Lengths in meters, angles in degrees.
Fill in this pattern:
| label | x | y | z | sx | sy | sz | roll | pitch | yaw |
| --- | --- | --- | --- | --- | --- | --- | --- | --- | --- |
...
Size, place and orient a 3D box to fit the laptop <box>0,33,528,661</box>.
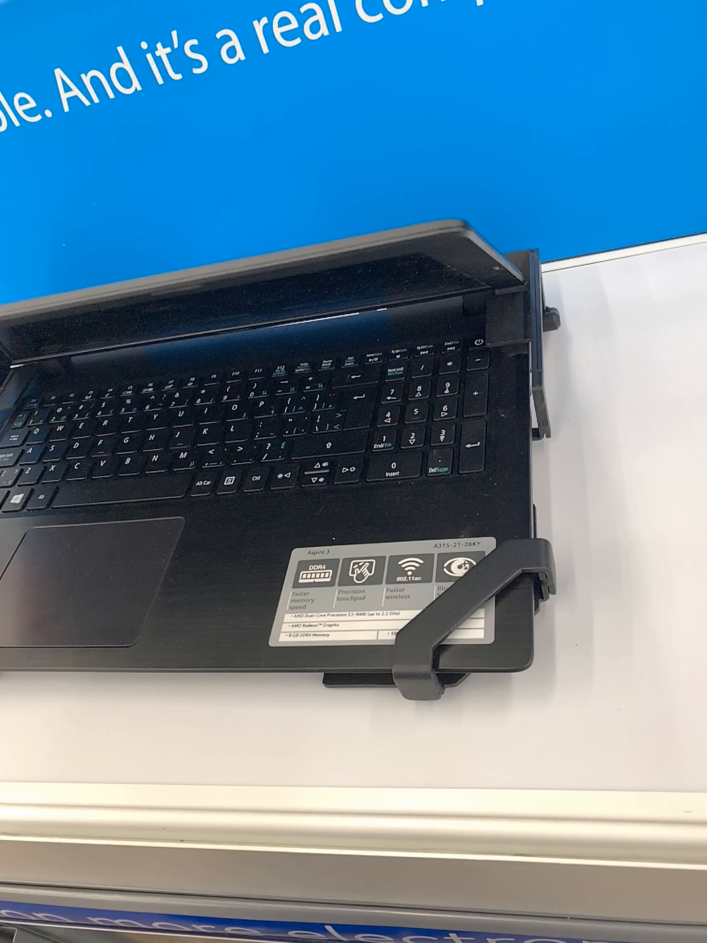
| label | x | y | z | sx | sy | sz | roll | pitch | yaw |
| --- | --- | --- | --- | --- | --- | --- | --- | --- | --- |
| laptop | -0.111 | -0.046 | 0.357 | 0.364 | 0.137 | 0.222 | -5 | 50 | 17 |
